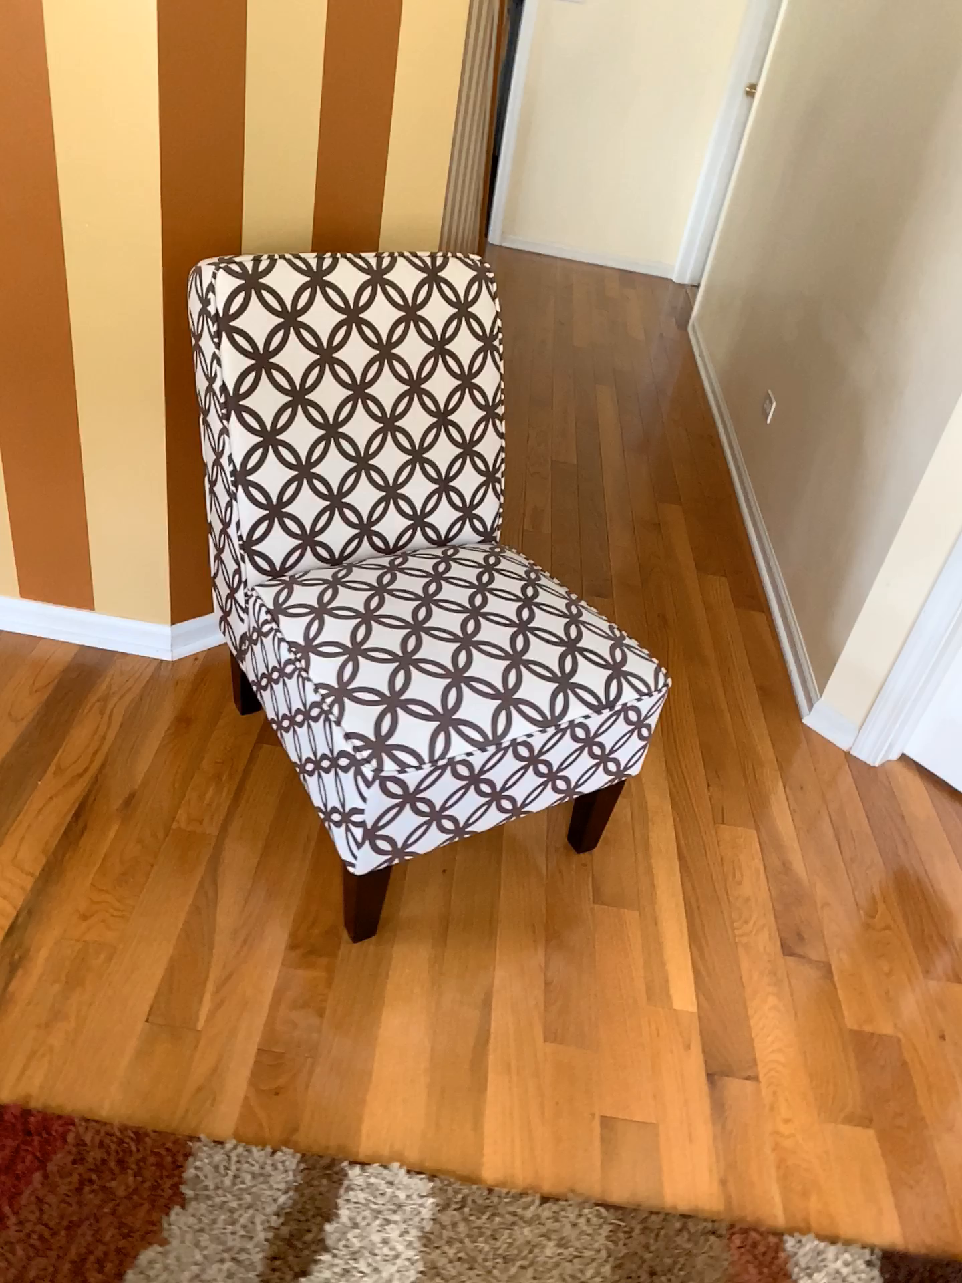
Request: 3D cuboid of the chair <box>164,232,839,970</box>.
[{"bbox_3d":[-0.058,-0.130,1.532,0.624,0.774,0.739,-13,40,-30],"label":"chair"}]
